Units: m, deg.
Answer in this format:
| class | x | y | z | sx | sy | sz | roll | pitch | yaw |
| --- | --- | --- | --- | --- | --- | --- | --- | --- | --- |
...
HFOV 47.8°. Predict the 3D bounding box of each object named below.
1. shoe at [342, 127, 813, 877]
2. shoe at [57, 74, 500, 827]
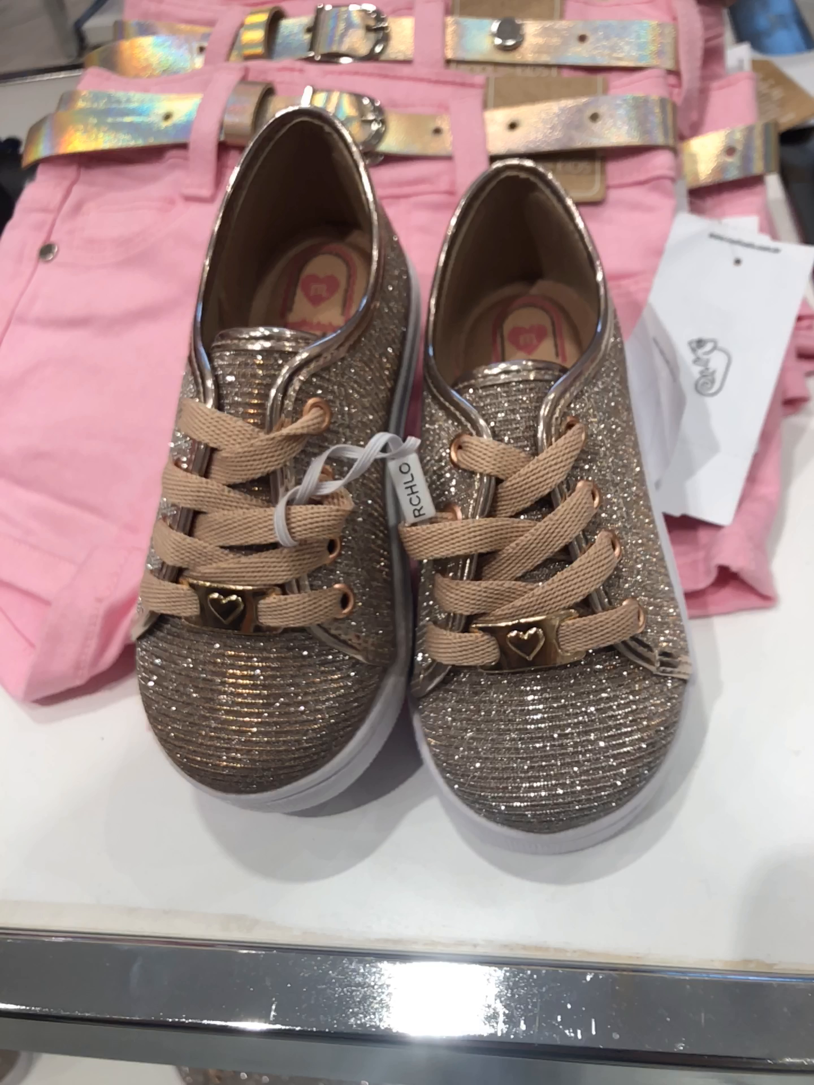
| class | x | y | z | sx | sy | sz | roll | pitch | yaw |
| --- | --- | --- | --- | --- | --- | --- | --- | --- | --- |
| shoe | 0.032 | -0.014 | 0.239 | 0.080 | 0.080 | 0.171 | -7 | 58 | 6 |
| shoe | -0.020 | -0.020 | 0.238 | 0.070 | 0.080 | 0.171 | 0 | 70 | 13 |
